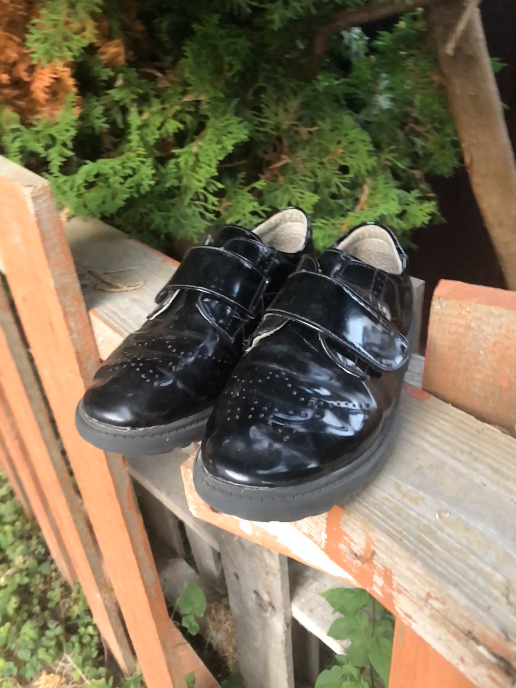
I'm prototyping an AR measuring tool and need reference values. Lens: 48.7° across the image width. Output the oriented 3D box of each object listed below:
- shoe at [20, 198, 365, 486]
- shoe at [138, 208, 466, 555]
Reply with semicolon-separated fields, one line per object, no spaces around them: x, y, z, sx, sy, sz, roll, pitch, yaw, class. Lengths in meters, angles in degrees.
-0.020;-0.024;0.377;0.090;0.070;0.241;16;35;28;shoe
0.044;-0.005;0.326;0.090;0.070;0.231;14;34;25;shoe
